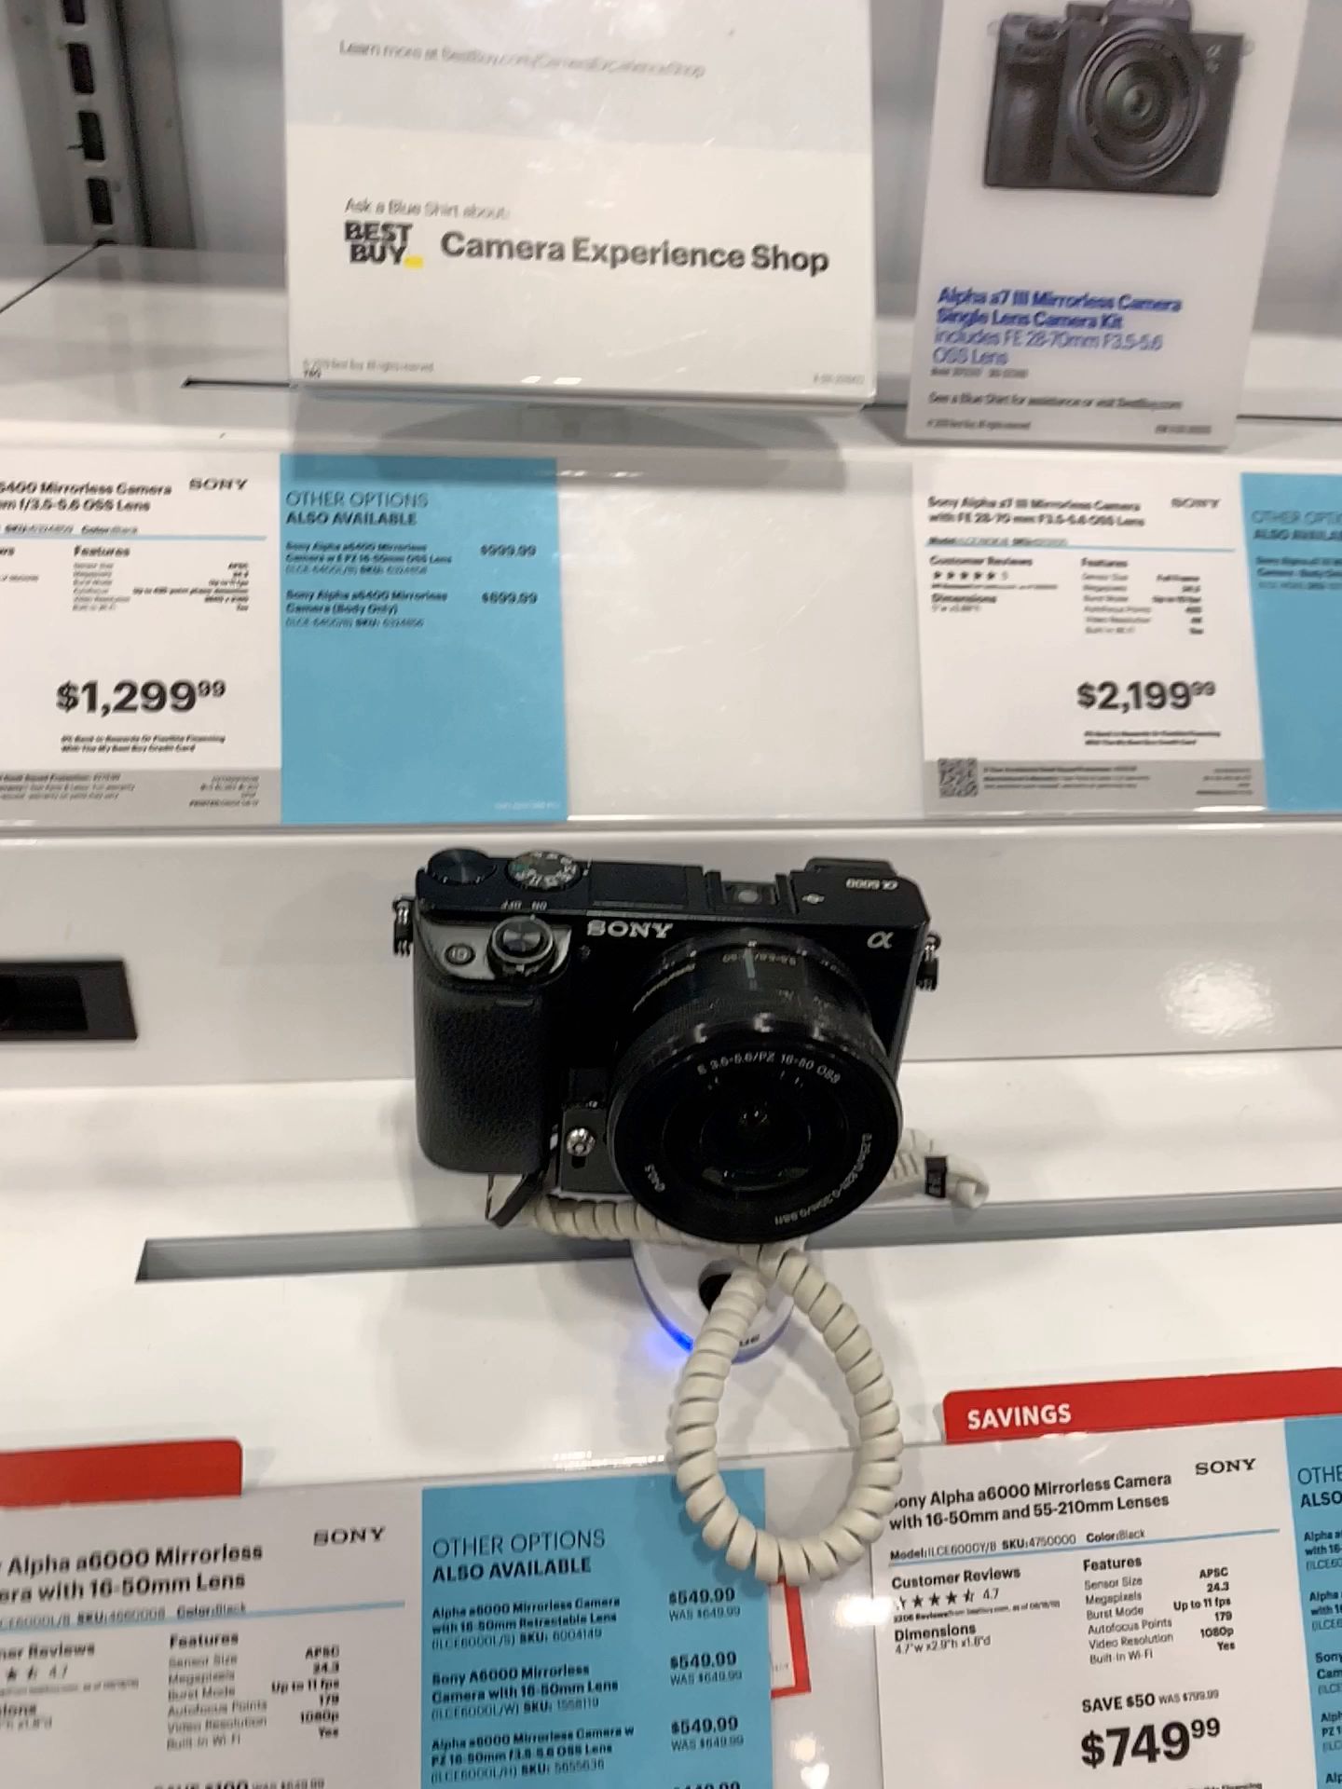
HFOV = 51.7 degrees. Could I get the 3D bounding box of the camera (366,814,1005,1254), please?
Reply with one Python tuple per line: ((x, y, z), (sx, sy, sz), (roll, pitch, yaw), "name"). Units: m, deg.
((0.001, 0.033, 0.328), (0.130, 0.080, 0.060), (2, 32, -3), "camera")
